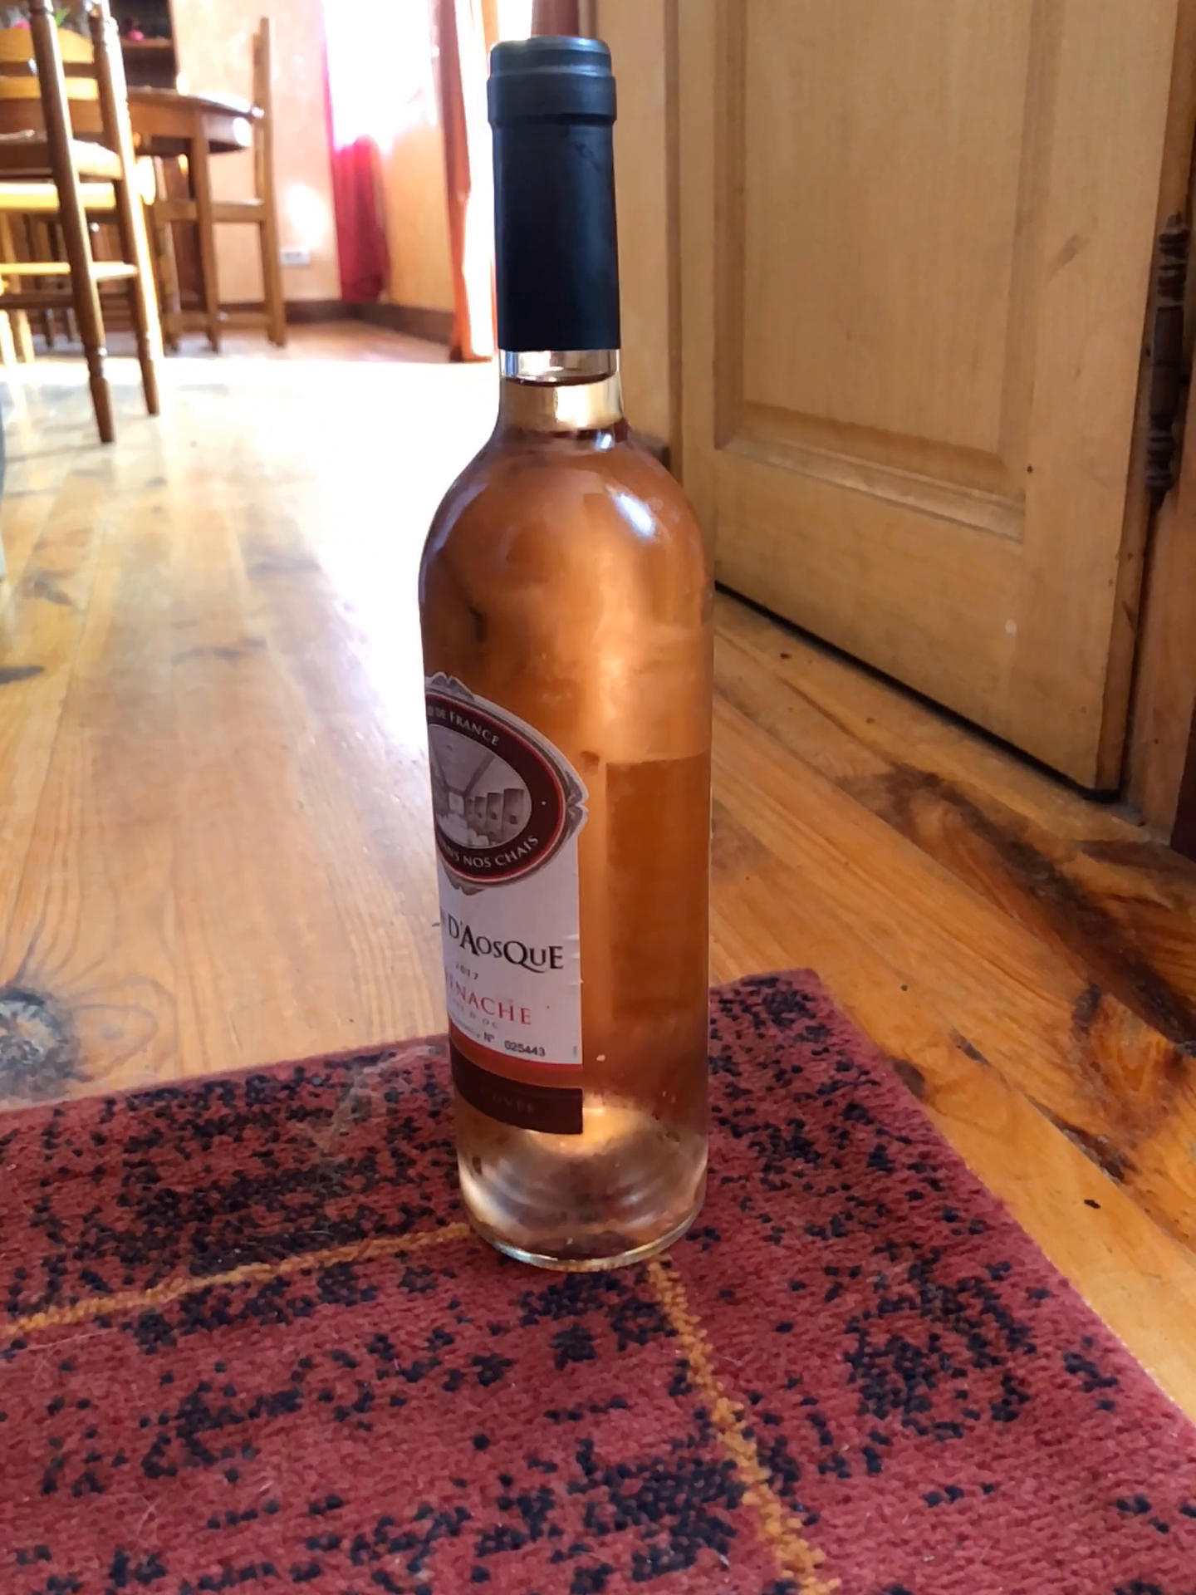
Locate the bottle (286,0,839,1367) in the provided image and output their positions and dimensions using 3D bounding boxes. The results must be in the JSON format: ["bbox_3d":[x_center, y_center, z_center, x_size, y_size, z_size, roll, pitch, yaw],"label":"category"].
[{"bbox_3d":[-0.003,-0.018,0.341,0.080,0.308,0.090,-20,28,-37],"label":"bottle"}]
